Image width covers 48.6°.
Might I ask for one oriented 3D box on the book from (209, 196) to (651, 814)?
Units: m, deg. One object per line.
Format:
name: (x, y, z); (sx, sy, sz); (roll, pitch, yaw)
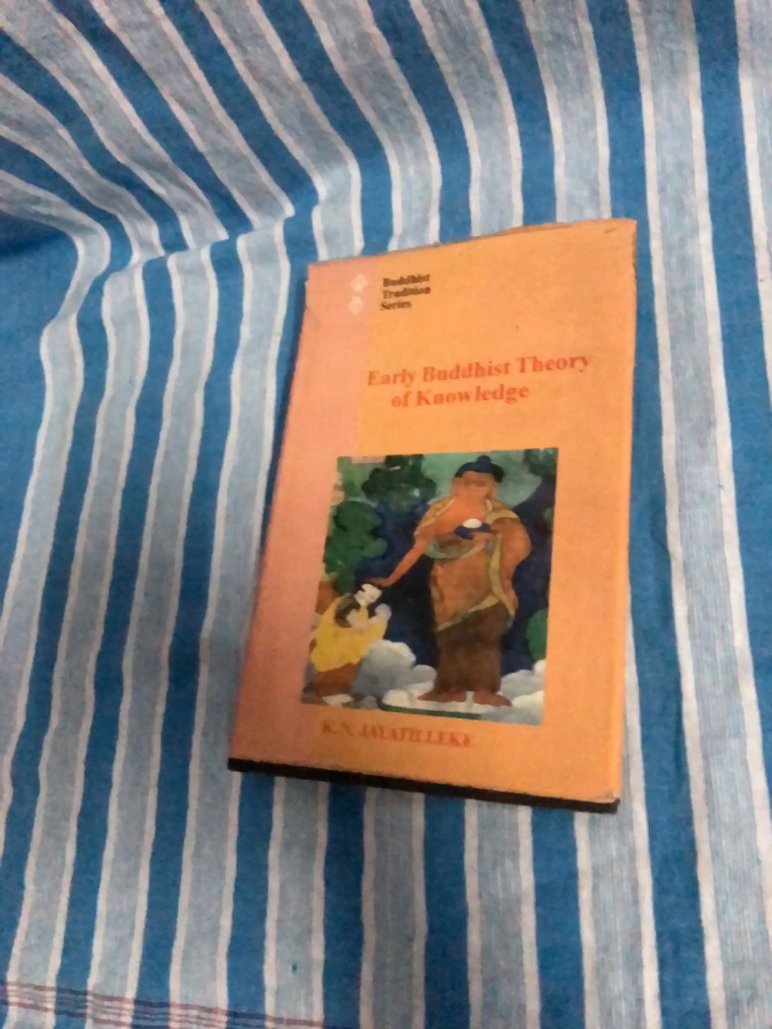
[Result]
book: (0.021, -0.009, 0.330); (0.150, 0.030, 0.220); (-1, 72, 22)
